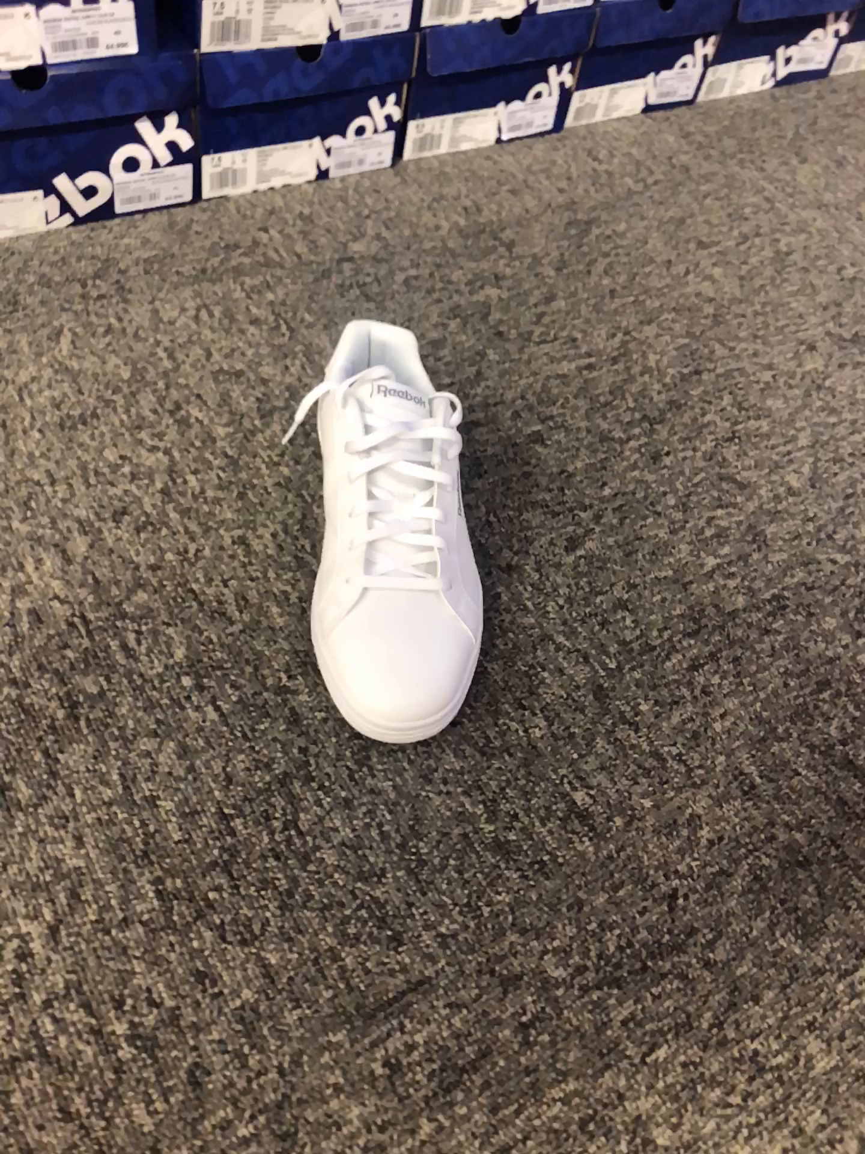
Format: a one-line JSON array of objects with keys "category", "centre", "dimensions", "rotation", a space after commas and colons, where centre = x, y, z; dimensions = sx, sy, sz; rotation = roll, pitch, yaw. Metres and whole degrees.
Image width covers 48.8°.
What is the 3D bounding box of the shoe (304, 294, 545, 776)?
[{"category": "shoe", "centre": [-0.017, -0.031, 0.544], "dimensions": [0.100, 0.099, 0.261], "rotation": [0, 57, -11]}]
